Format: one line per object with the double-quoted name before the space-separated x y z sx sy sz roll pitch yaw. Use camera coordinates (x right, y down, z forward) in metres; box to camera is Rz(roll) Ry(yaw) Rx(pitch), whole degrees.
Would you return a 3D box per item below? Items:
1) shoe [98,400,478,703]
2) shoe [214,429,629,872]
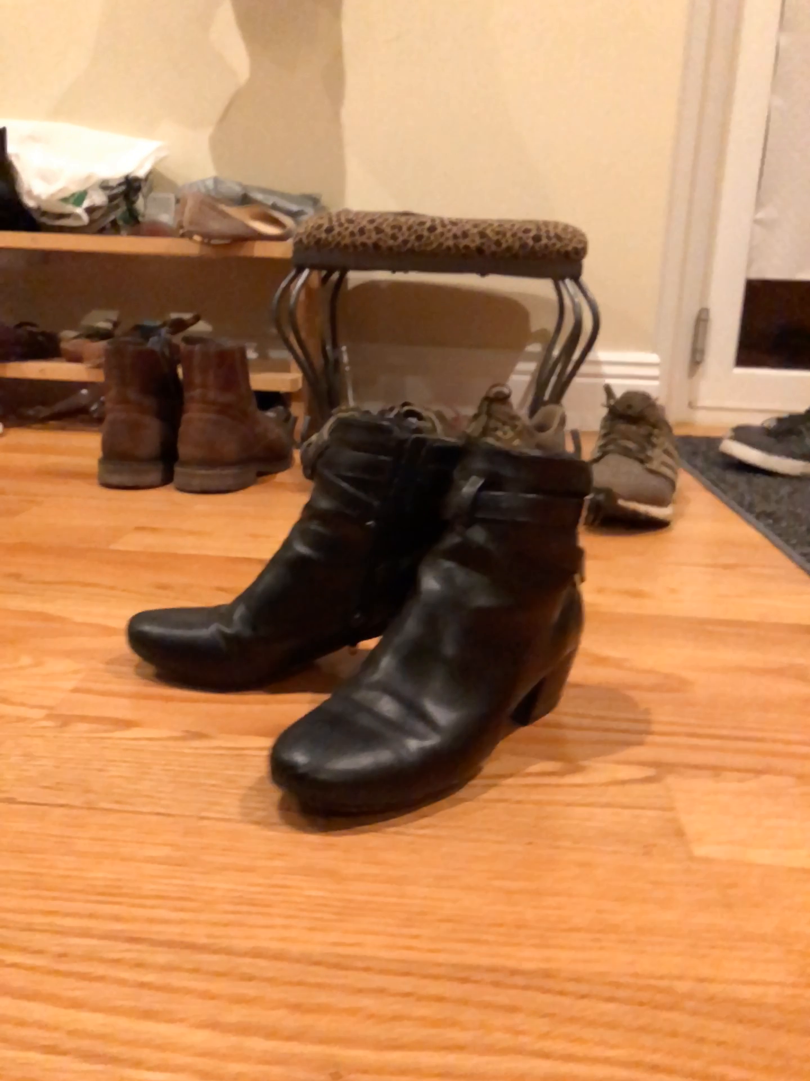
"shoe" -0.072 0.003 0.596 0.226 0.172 0.090 3 15 1
"shoe" 0.017 0.039 0.493 0.090 0.172 0.227 16 20 41
